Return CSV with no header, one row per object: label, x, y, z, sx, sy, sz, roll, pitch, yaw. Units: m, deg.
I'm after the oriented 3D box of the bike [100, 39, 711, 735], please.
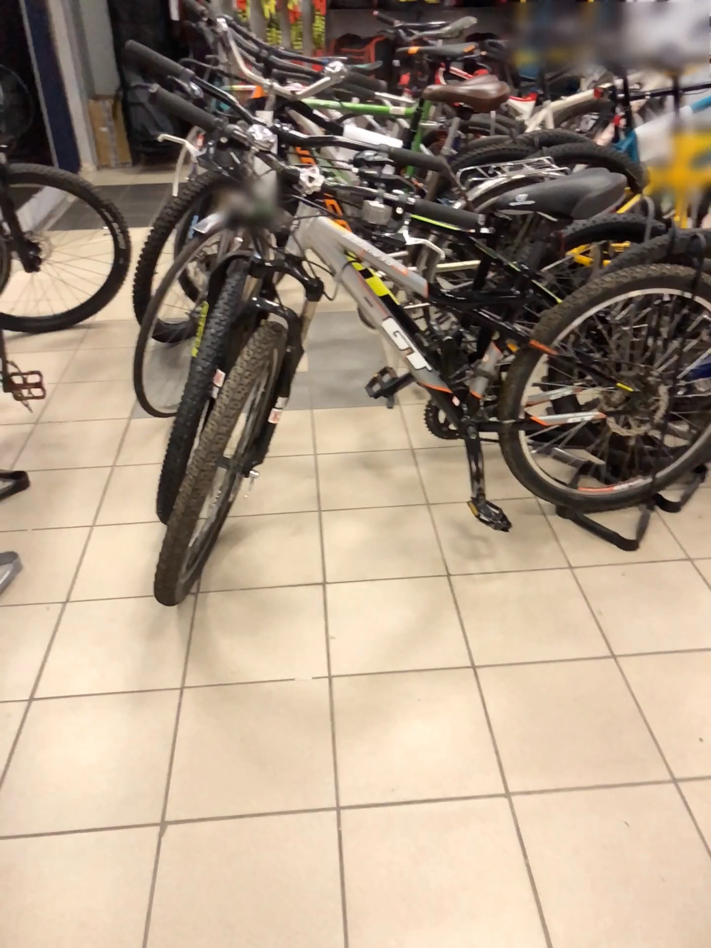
bike,0.322,-0.281,1.596,1.426,1.012,0.628,-12,33,-22
